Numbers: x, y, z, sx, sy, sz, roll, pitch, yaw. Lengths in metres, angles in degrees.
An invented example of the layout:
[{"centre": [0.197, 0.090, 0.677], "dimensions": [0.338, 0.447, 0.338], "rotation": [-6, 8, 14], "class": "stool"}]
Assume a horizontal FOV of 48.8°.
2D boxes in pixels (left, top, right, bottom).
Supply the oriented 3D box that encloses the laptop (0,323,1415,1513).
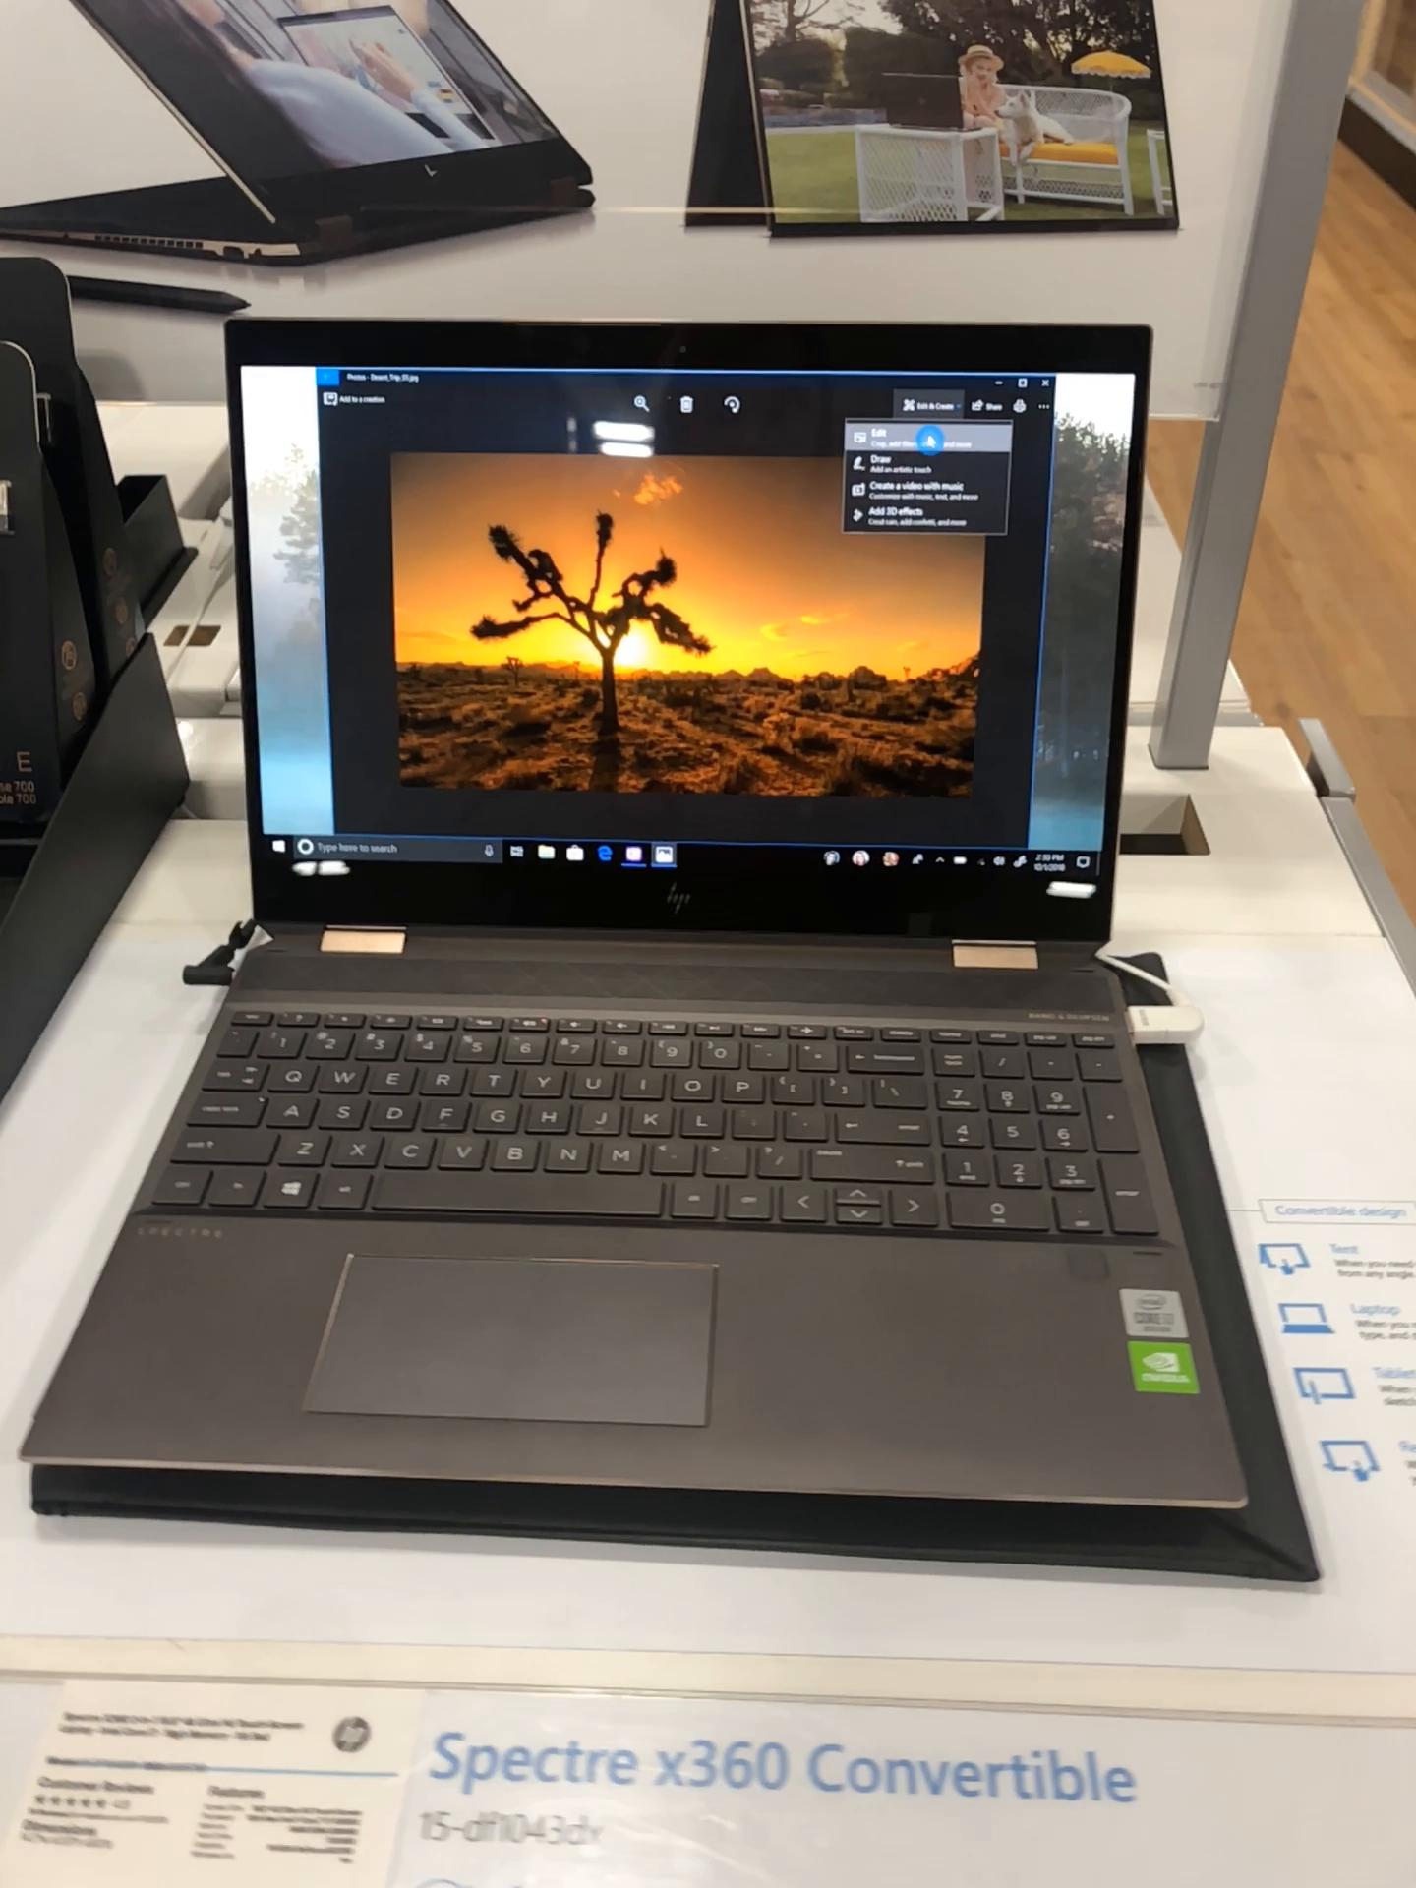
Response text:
[{"centre": [-0.018, -0.039, 0.523], "dimensions": [0.348, 0.209, 0.361], "rotation": [1, 39, 2], "class": "laptop"}]
